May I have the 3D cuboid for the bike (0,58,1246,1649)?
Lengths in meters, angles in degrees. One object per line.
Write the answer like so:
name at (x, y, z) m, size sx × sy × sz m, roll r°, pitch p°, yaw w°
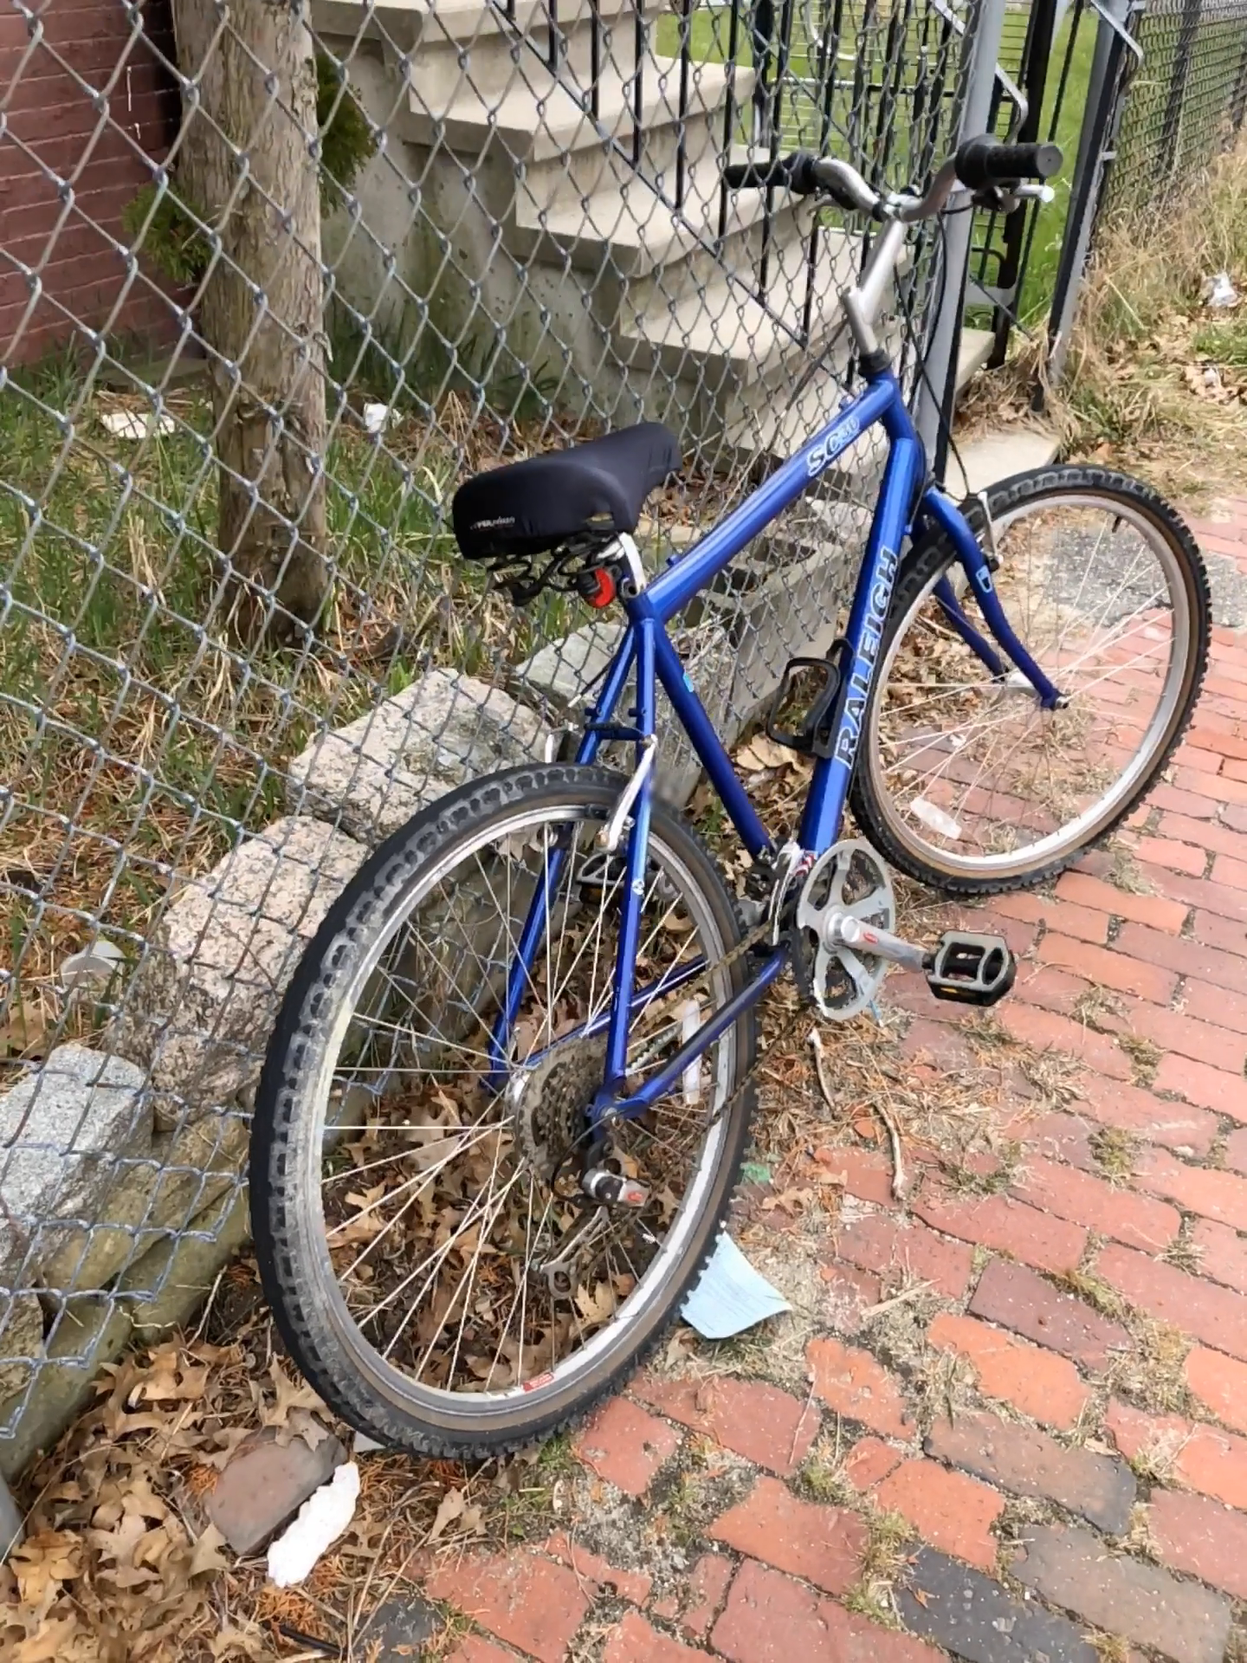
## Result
bike at (0.161, -0.212, 1.553) m, size 0.680 × 1.023 × 1.673 m, roll 25°, pitch 42°, yaw 35°
